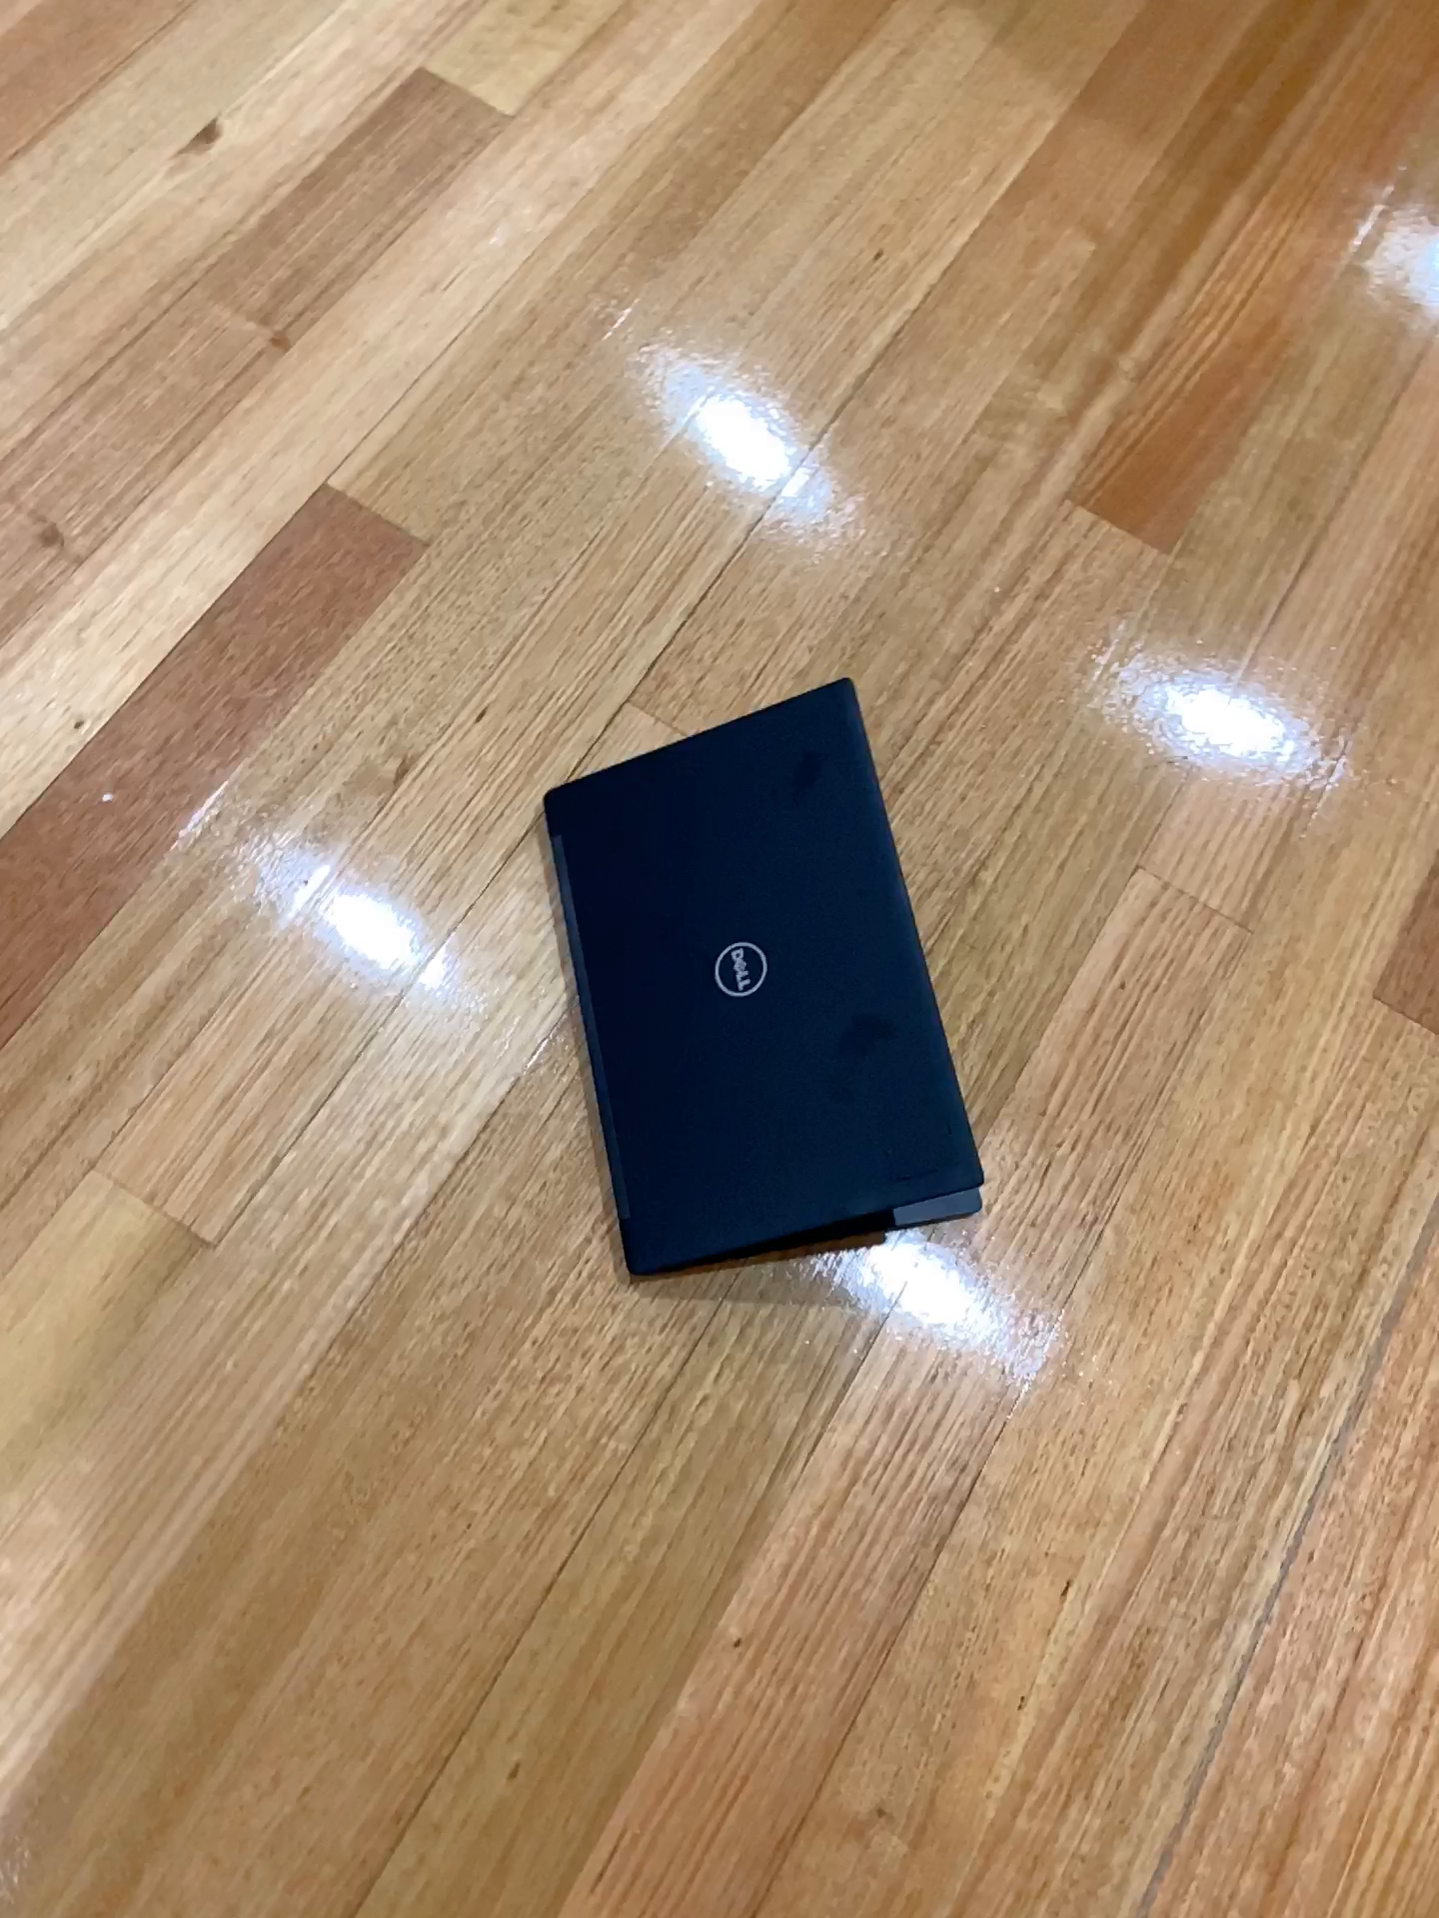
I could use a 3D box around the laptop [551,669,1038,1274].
[{"bbox_3d":[0.028,0.005,0.840,0.206,0.110,0.297,-9,70,-7],"label":"laptop"}]
